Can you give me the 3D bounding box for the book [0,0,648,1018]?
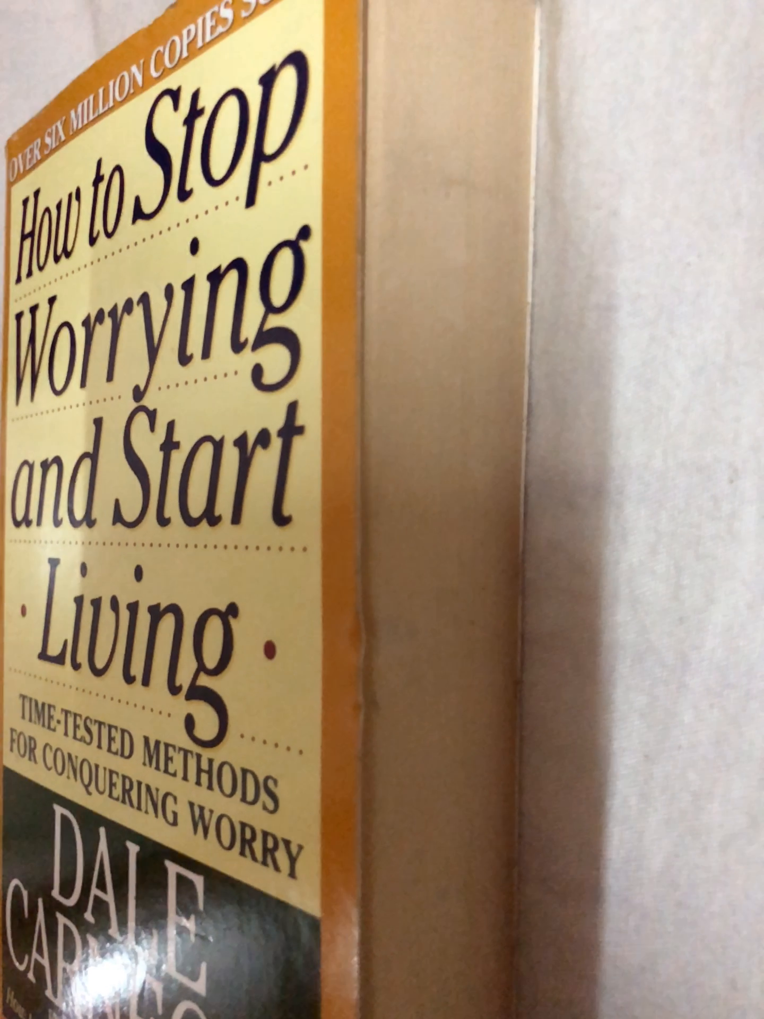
[{"bbox_3d":[-0.021,0.010,0.140,0.110,0.050,0.170,-1,88,42],"label":"book"}]
